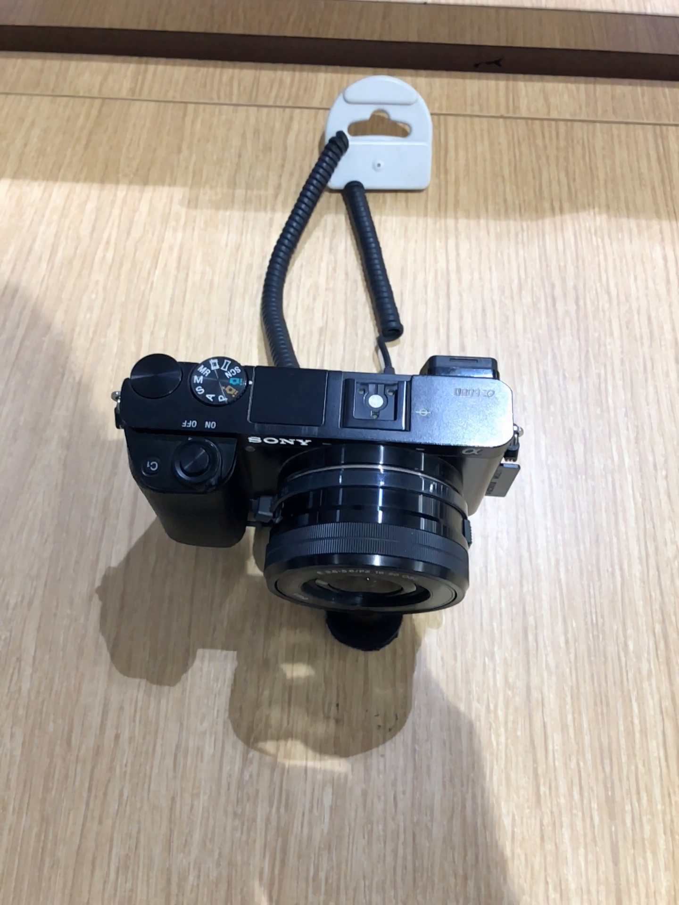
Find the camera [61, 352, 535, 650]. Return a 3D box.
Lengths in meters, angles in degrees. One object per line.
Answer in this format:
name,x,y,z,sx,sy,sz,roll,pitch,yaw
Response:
camera,-0.009,0.017,0.215,0.107,0.070,0.059,2,64,0
